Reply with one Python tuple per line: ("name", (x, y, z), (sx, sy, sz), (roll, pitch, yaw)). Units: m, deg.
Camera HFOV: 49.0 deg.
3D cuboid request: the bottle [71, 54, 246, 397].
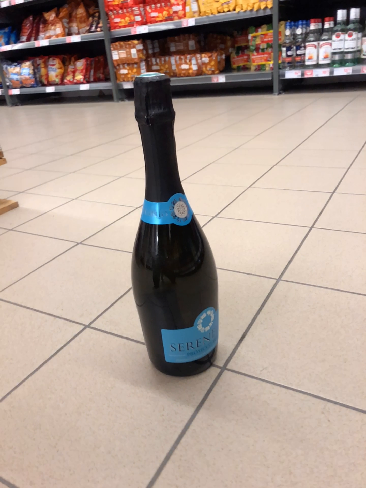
("bottle", (-0.011, -0.014, 0.393), (0.100, 0.298, 0.090), (-26, 31, -36))
